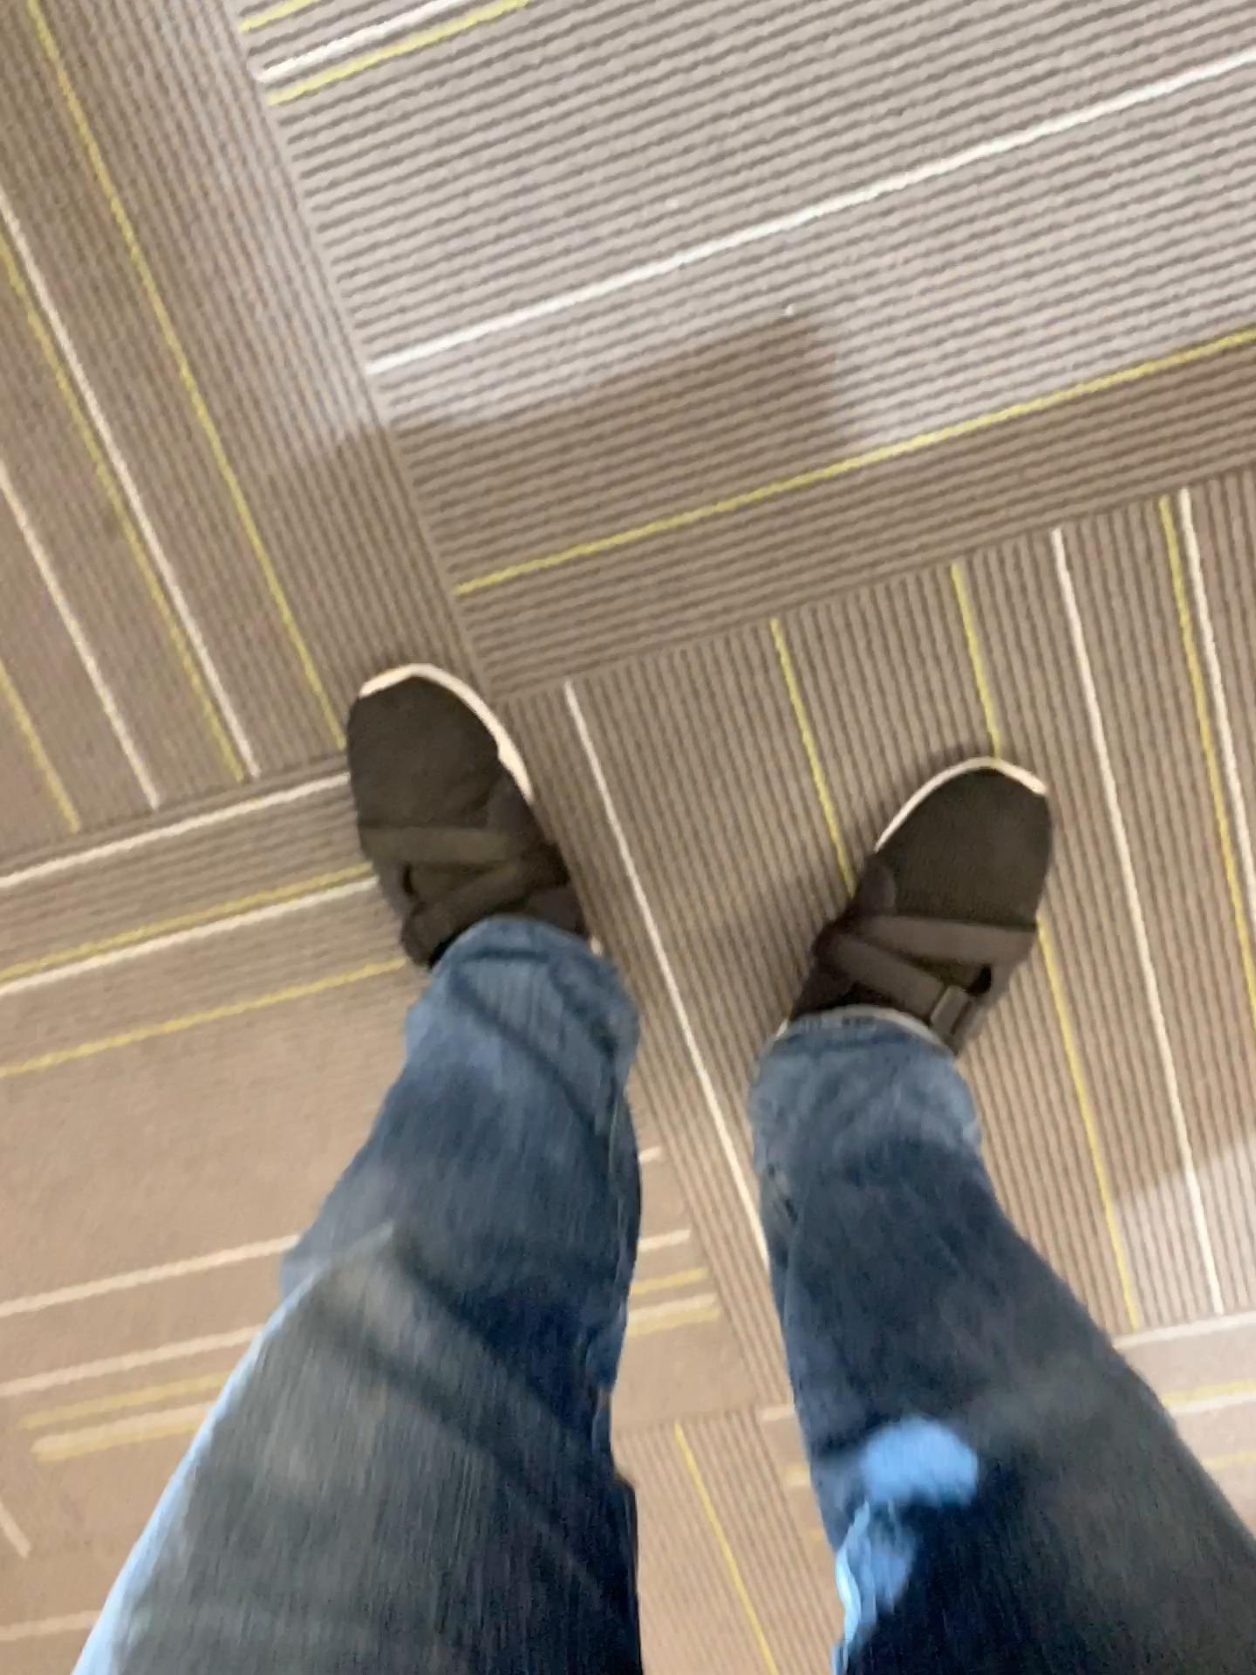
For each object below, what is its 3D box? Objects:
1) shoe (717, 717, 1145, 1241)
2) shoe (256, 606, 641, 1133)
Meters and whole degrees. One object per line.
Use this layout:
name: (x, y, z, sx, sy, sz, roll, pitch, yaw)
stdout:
shoe: (0.179, 0.093, 0.839, 0.120, 0.110, 0.301, 25, 111, -6)
shoe: (-0.104, 0.022, 0.849, 0.120, 0.120, 0.301, -18, 109, 11)
